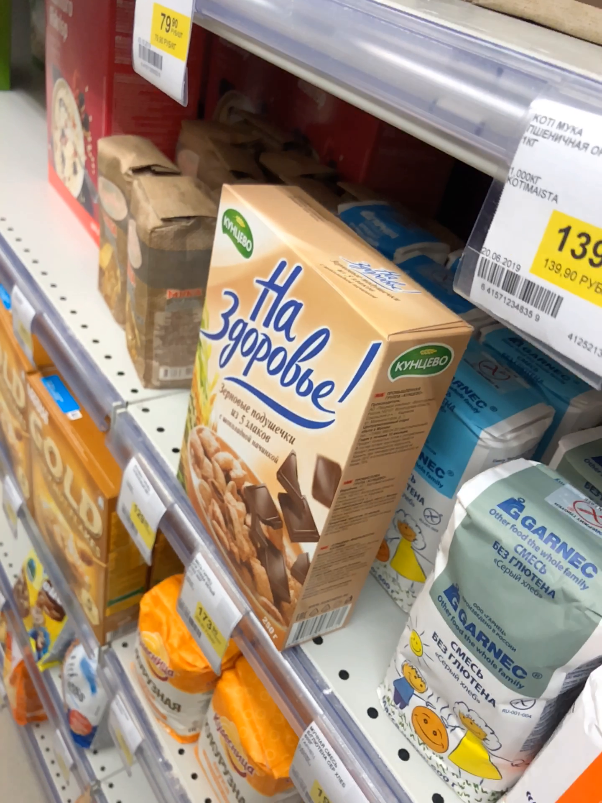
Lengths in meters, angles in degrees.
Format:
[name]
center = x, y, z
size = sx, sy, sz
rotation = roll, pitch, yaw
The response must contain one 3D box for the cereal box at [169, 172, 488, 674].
[cereal box]
center = -0.009, 0.012, 0.371
size = 0.050, 0.219, 0.161
rotation = -10, 42, -31
